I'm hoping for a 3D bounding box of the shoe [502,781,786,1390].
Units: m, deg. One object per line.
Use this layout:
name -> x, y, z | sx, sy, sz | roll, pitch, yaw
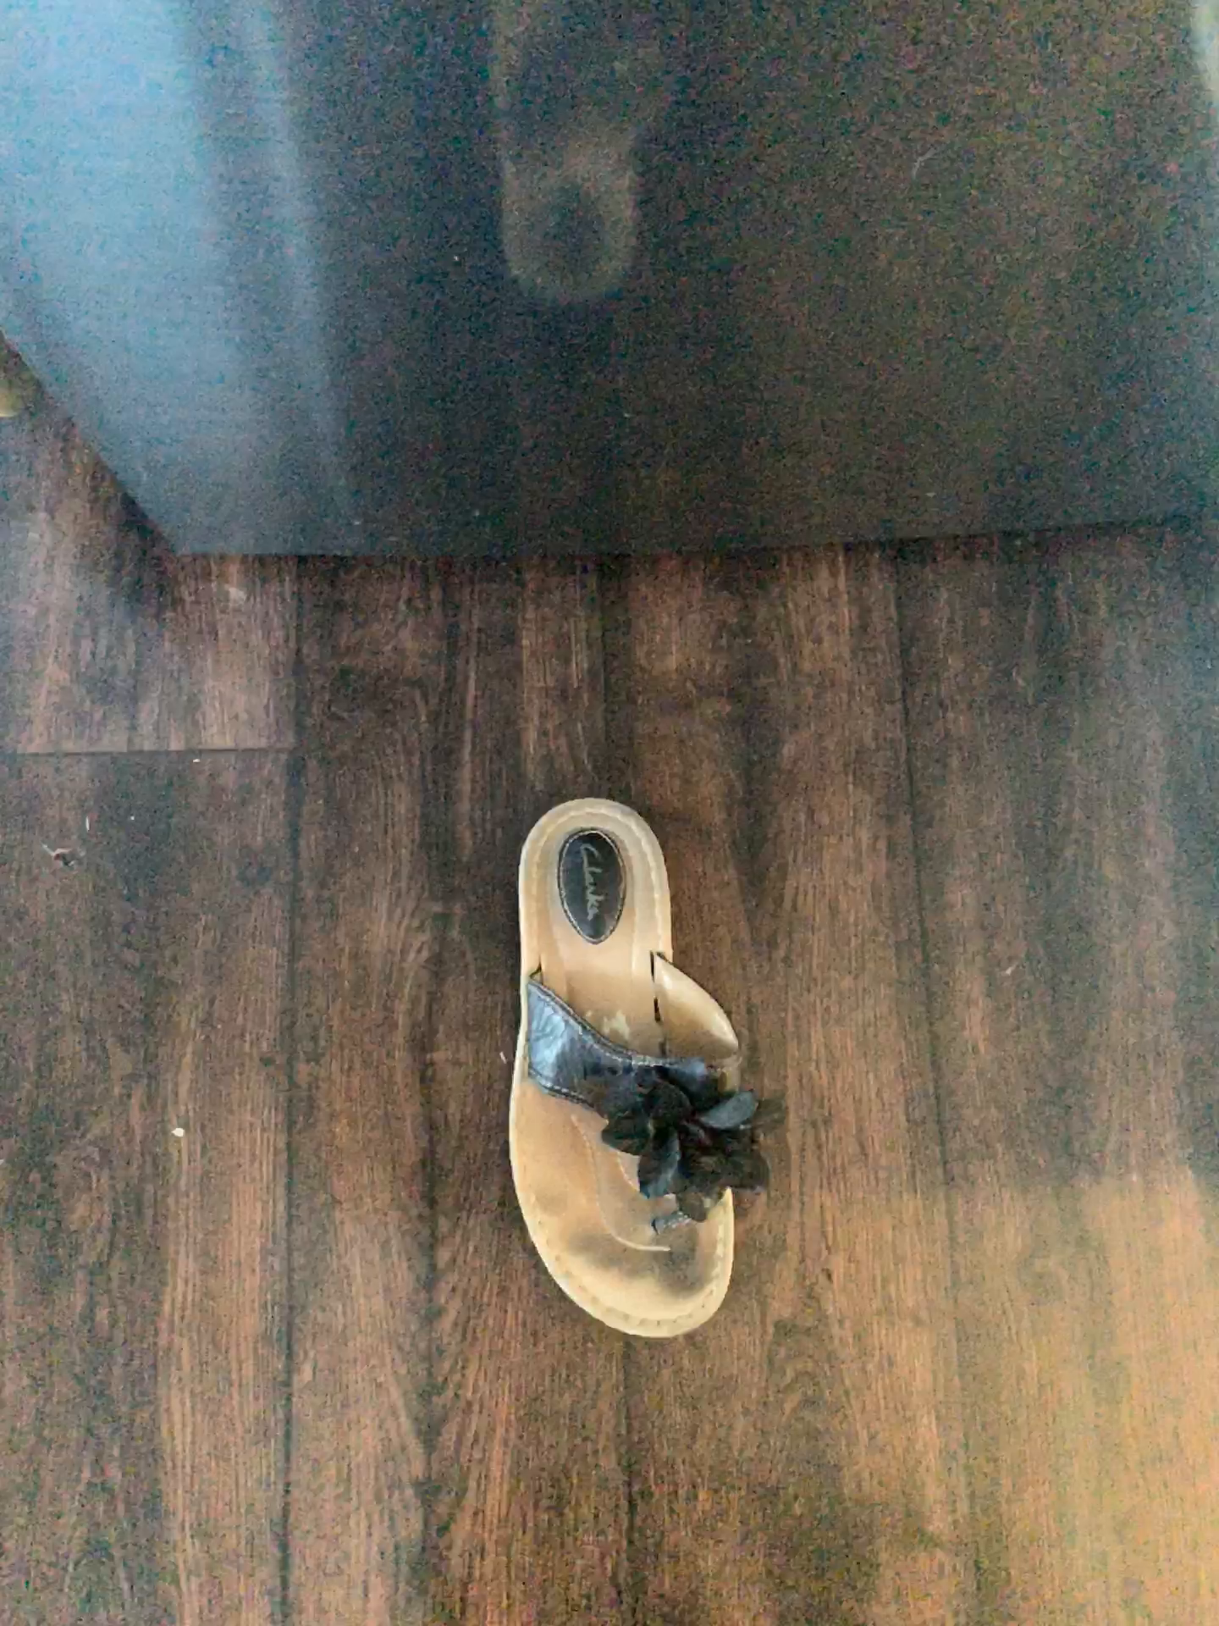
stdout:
shoe -> 0.011, 0.115, 0.556 | 0.110, 0.050, 0.250 | -2, 80, -3
